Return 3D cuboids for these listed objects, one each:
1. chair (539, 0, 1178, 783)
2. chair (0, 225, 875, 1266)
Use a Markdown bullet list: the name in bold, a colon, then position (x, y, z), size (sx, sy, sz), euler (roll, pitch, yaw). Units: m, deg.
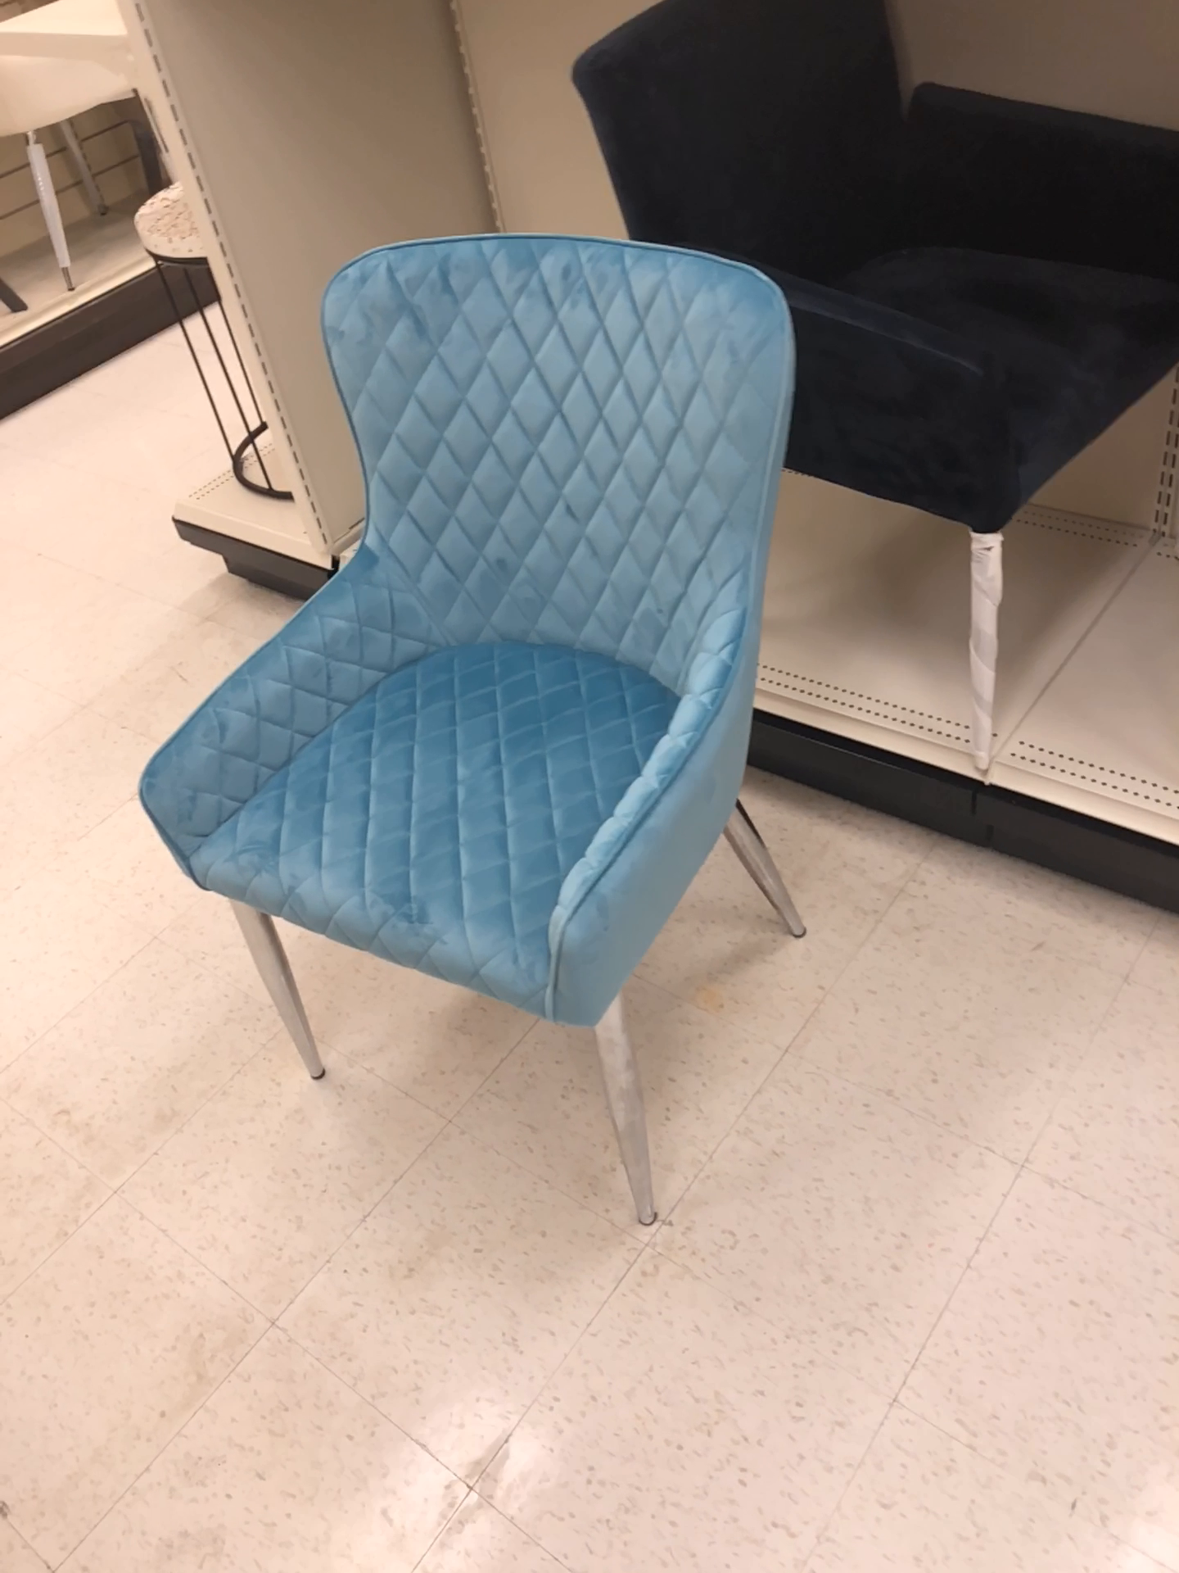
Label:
- **chair**: position (0.408, -0.557, 1.608), size (0.582, 0.777, 0.561), euler (27, 55, 37)
- **chair**: position (-0.074, -0.054, 1.428), size (0.561, 0.870, 0.584), euler (16, 48, 29)
